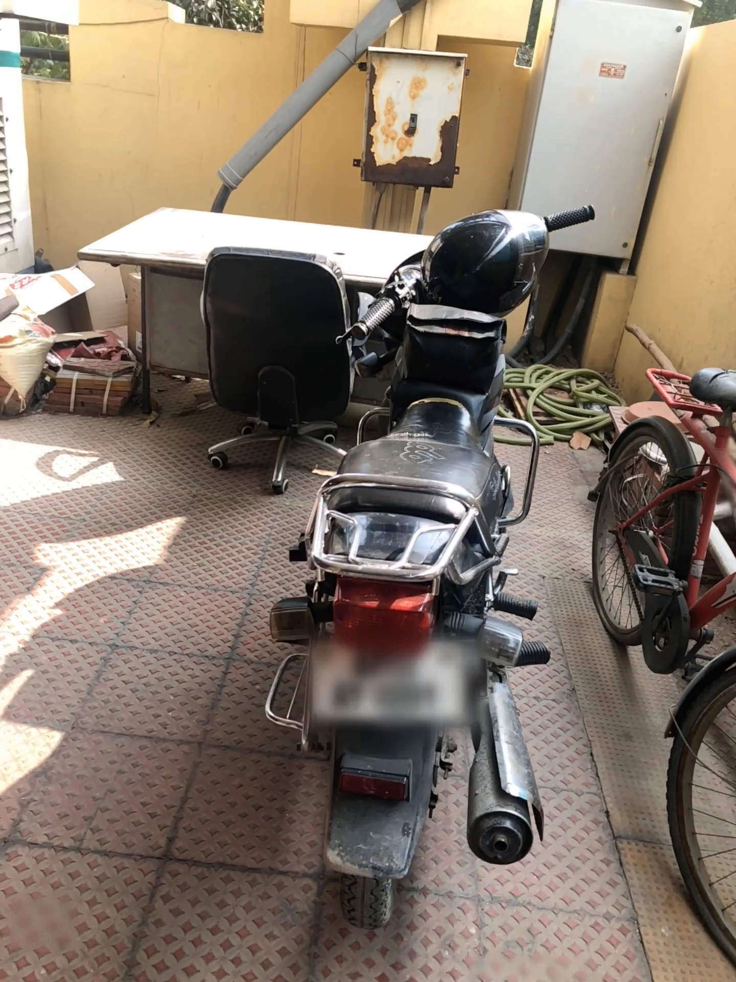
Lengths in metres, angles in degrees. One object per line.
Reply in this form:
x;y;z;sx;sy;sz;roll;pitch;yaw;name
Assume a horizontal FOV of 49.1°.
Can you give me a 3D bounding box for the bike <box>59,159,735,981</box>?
-0.014;-0.058;1.738;0.713;1.028;1.622;7;26;-1;bike
